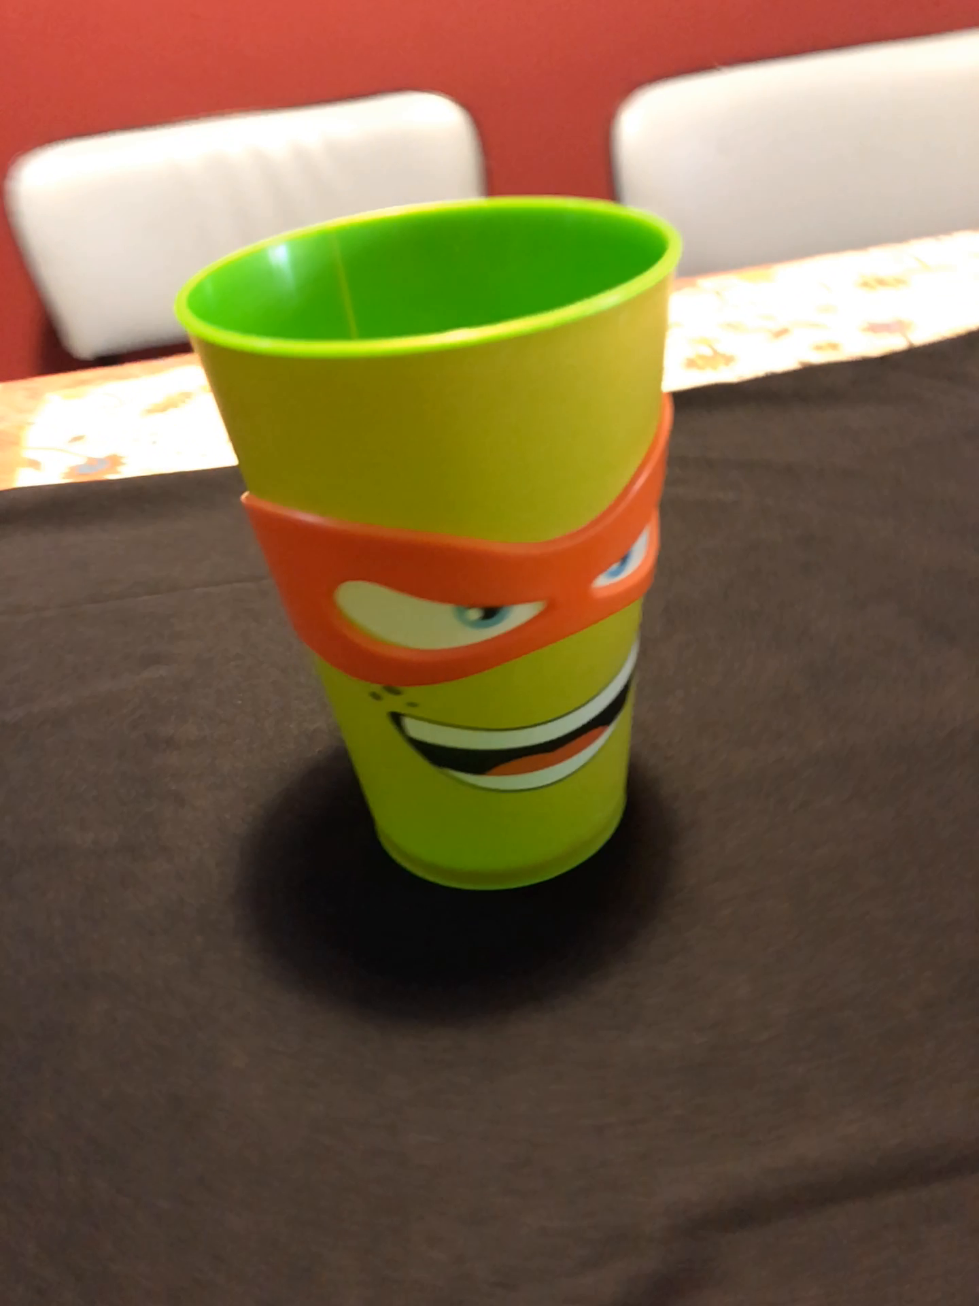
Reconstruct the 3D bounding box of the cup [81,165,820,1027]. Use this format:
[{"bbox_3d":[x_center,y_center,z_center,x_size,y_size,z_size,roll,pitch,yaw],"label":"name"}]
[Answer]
[{"bbox_3d":[-0.005,-0.022,0.249,0.100,0.139,0.111,-27,38,-26],"label":"cup"}]
